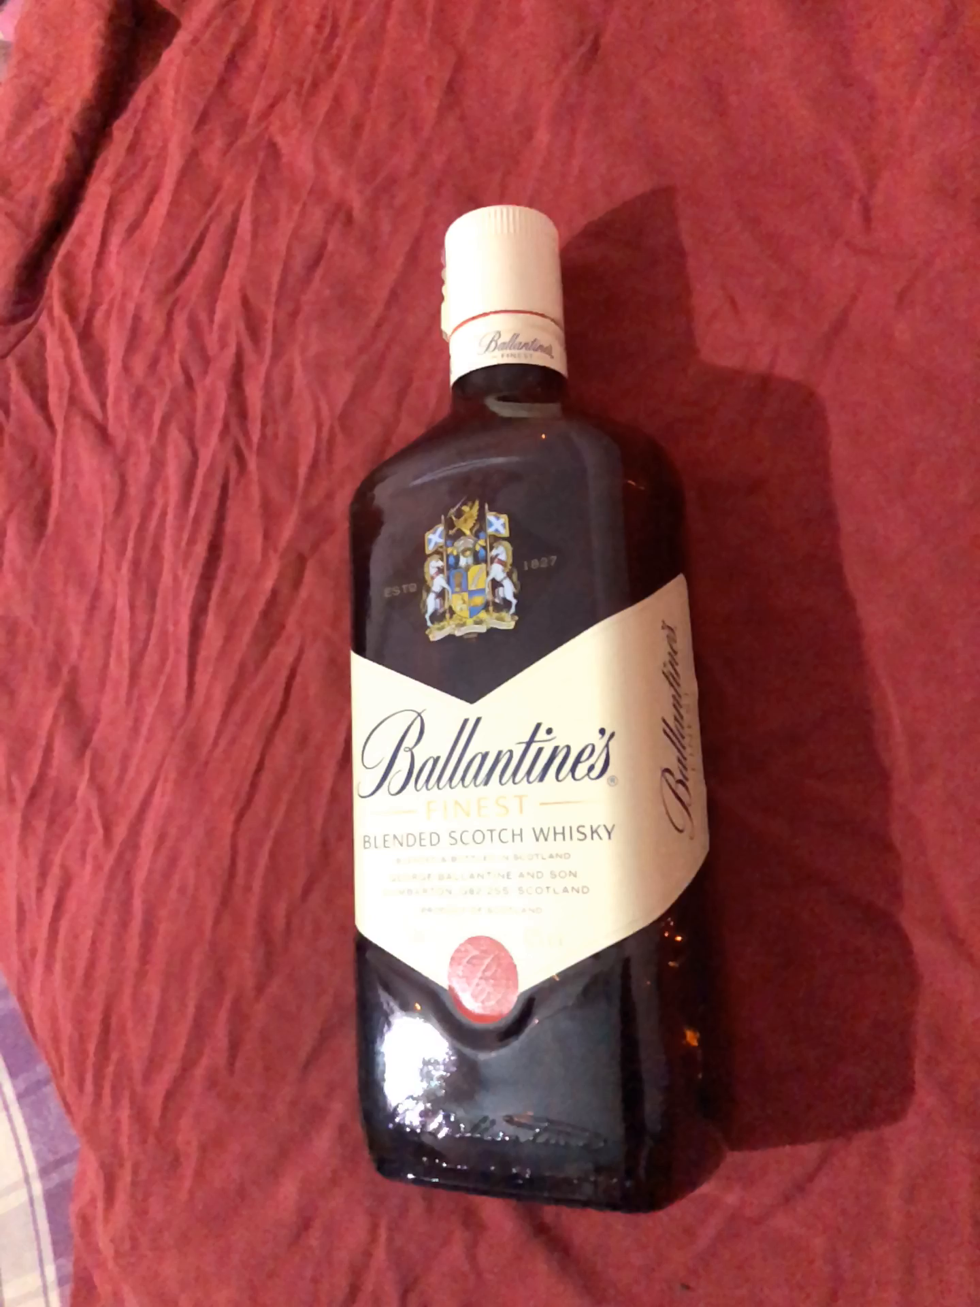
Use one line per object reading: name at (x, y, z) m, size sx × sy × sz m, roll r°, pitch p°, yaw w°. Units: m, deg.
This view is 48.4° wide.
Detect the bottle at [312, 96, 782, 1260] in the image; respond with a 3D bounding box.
bottle at (0.011, 0.003, 0.274) m, size 0.090 × 0.050 × 0.250 m, roll -7°, pitch 81°, yaw 26°
